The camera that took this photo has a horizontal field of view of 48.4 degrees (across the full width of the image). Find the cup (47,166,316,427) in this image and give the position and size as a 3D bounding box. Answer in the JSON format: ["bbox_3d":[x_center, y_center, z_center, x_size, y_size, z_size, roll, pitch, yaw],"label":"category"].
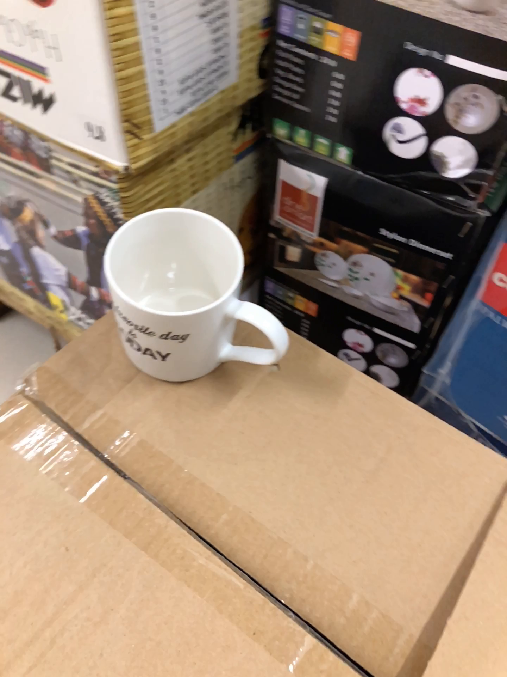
[{"bbox_3d":[-0.044,-0.024,0.365,0.130,0.099,0.080,26,61,9],"label":"cup"}]
